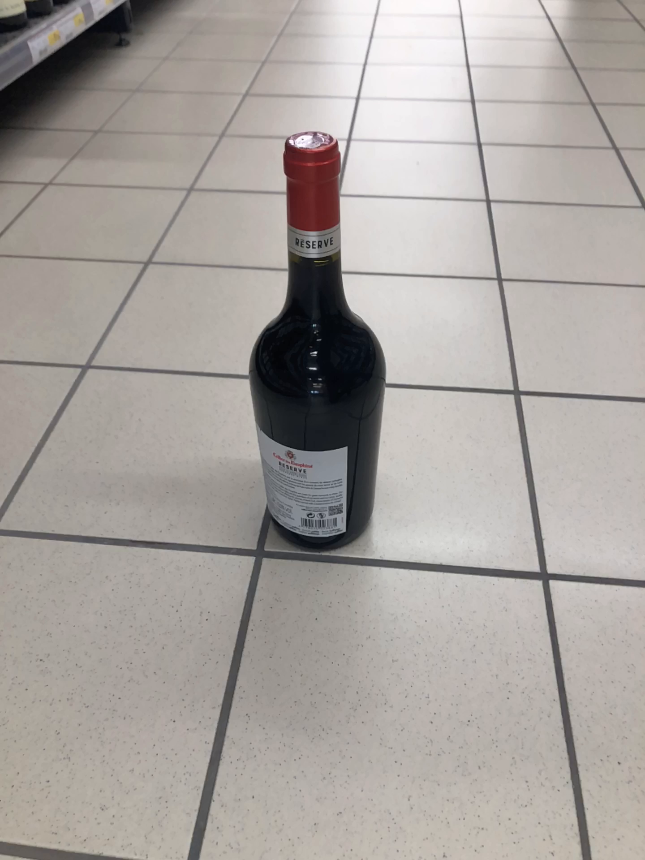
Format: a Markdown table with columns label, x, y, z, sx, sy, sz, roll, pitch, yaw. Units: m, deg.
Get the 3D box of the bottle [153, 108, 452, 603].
| label | x | y | z | sx | sy | sz | roll | pitch | yaw |
| --- | --- | --- | --- | --- | --- | --- | --- | --- | --- |
| bottle | -0.006 | -0.034 | 0.435 | 0.110 | 0.268 | 0.101 | 0 | 41 | 0 |
